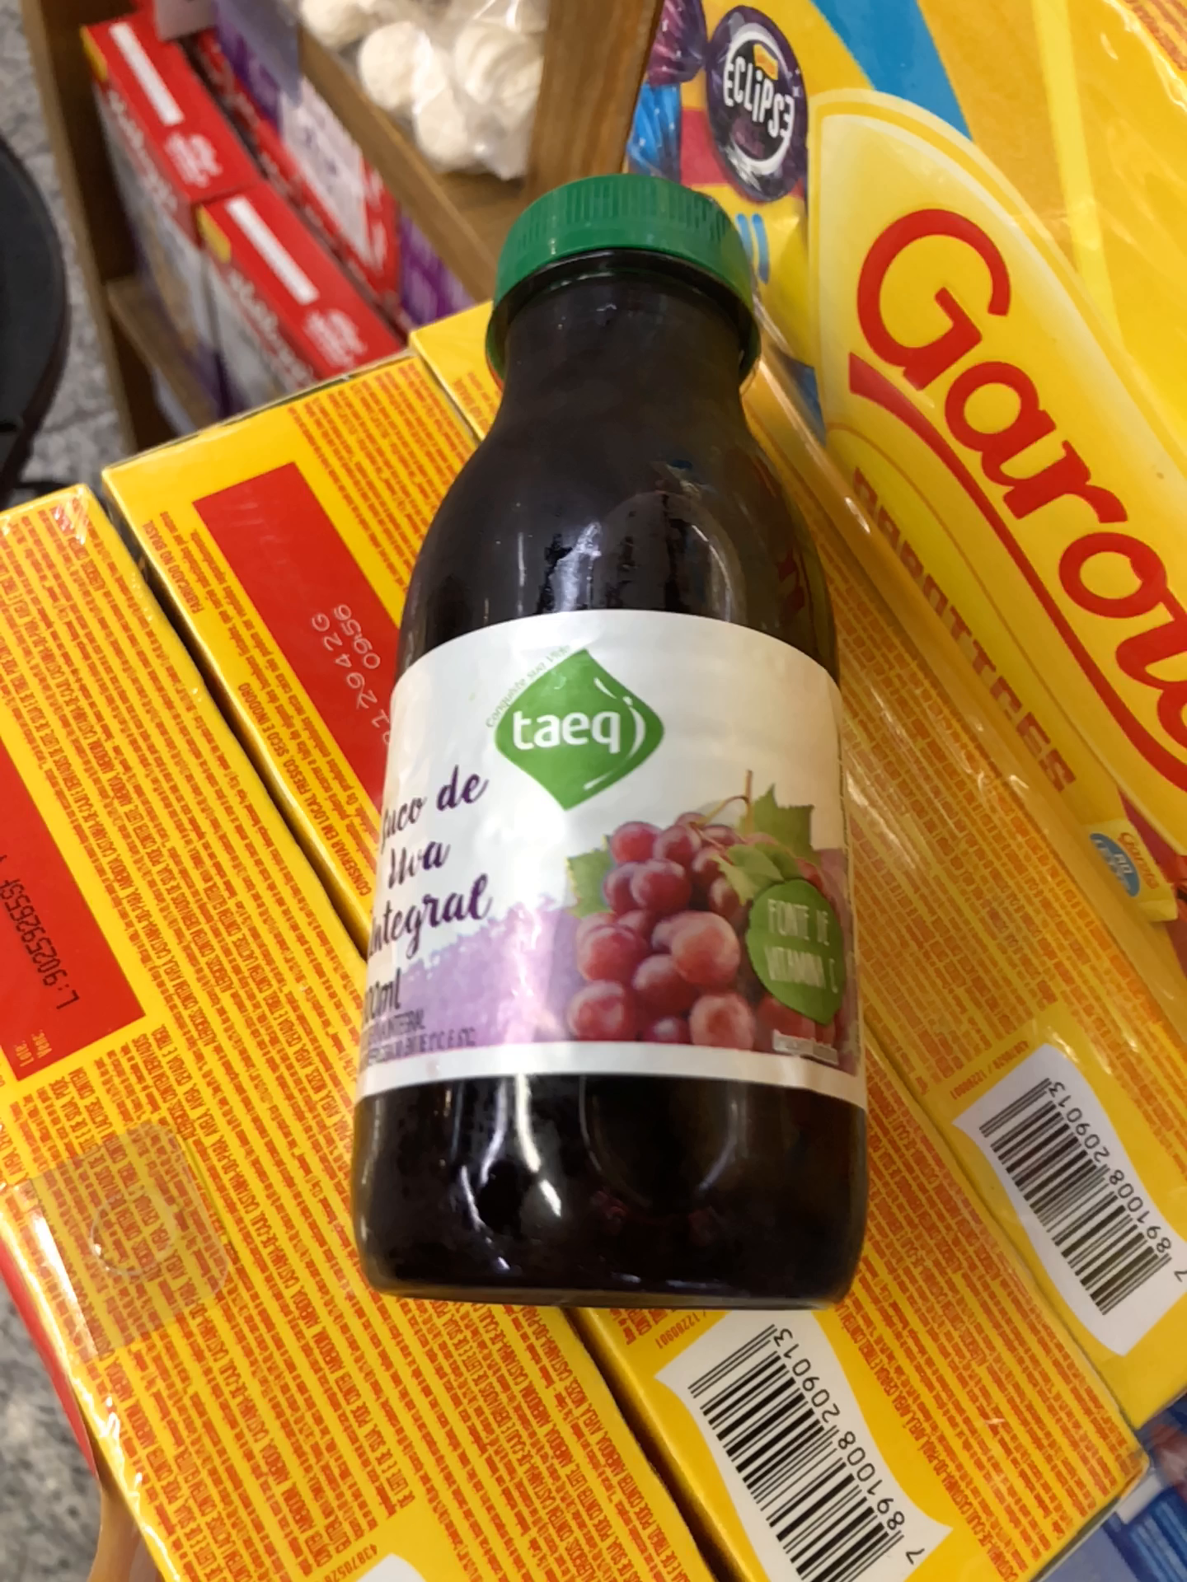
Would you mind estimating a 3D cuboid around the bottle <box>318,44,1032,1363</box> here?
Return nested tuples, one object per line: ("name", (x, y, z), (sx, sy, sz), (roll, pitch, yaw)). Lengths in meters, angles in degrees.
("bottle", (0.007, -0.015, 0.184), (0.070, 0.050, 0.170), (6, 66, -9))
